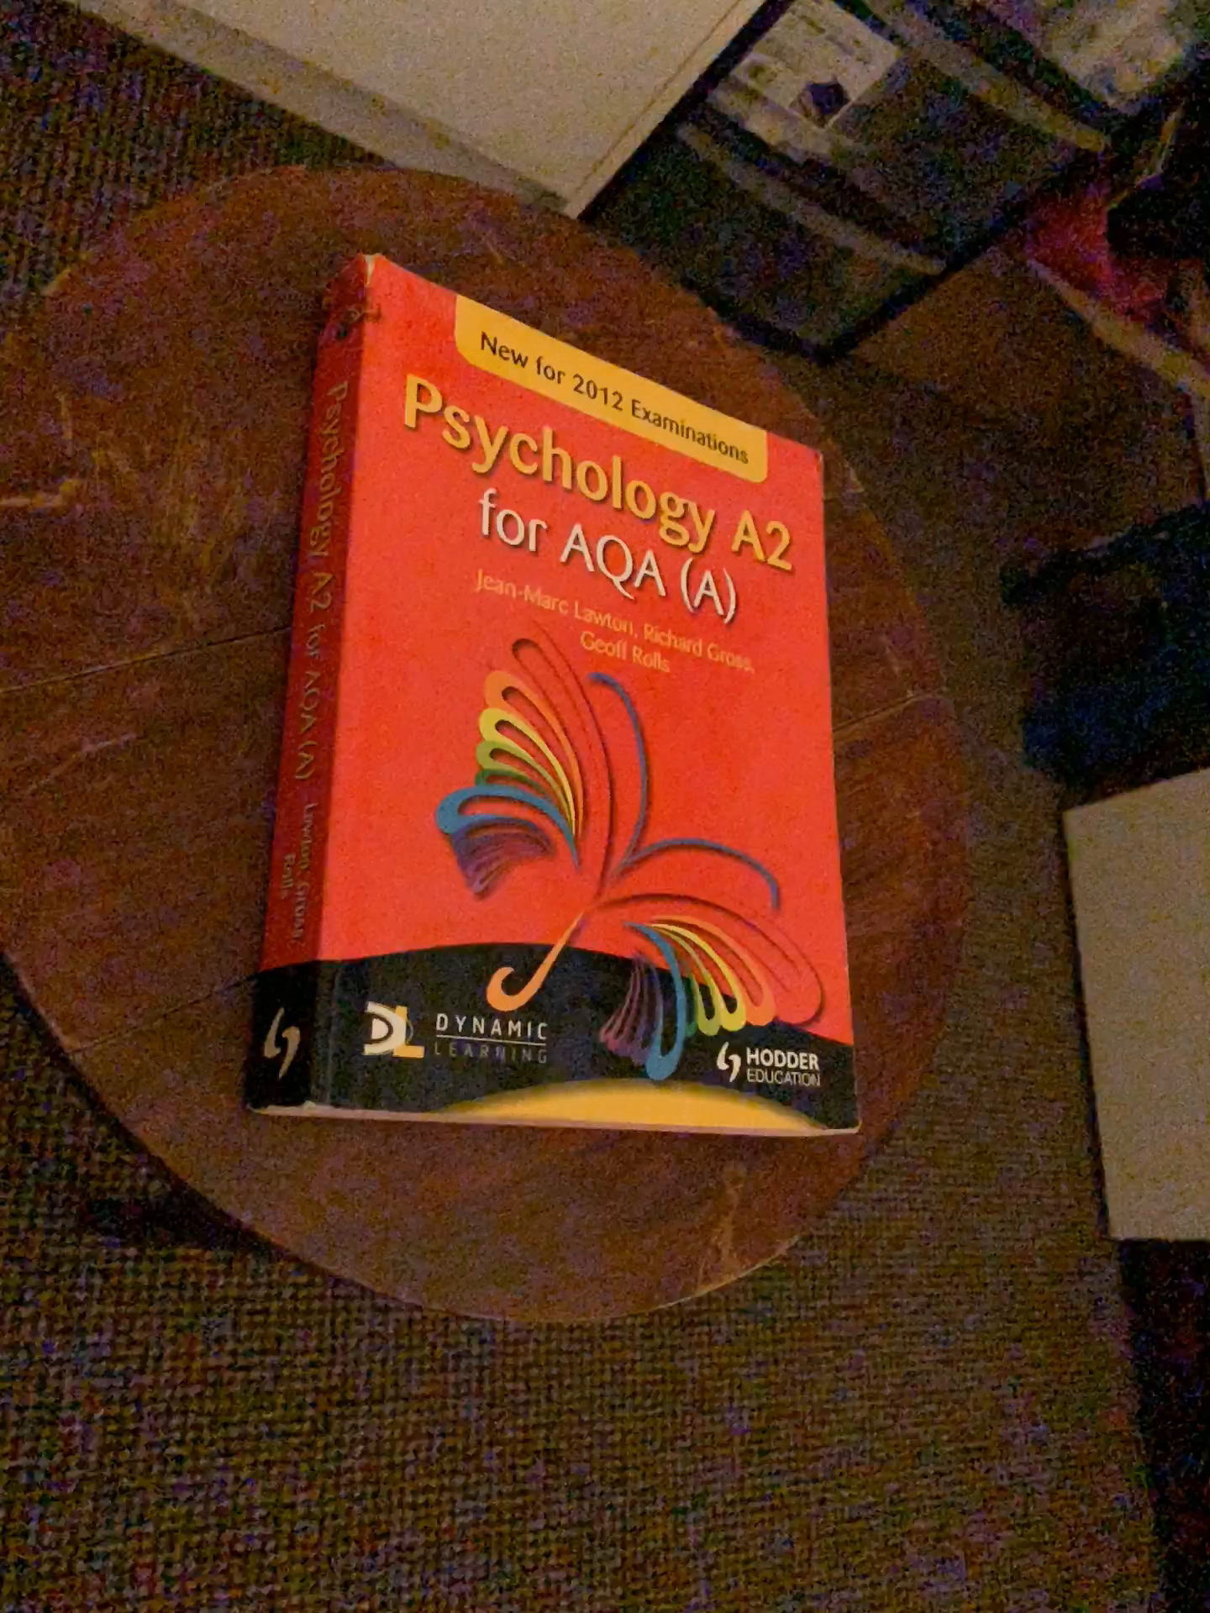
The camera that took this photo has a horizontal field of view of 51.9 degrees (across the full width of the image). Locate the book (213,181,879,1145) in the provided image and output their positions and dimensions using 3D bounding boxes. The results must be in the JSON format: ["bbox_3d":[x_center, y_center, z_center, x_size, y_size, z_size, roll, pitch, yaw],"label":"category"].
[{"bbox_3d":[-0.007,-0.040,0.423,0.211,0.040,0.291,12,67,-32],"label":"book"}]
